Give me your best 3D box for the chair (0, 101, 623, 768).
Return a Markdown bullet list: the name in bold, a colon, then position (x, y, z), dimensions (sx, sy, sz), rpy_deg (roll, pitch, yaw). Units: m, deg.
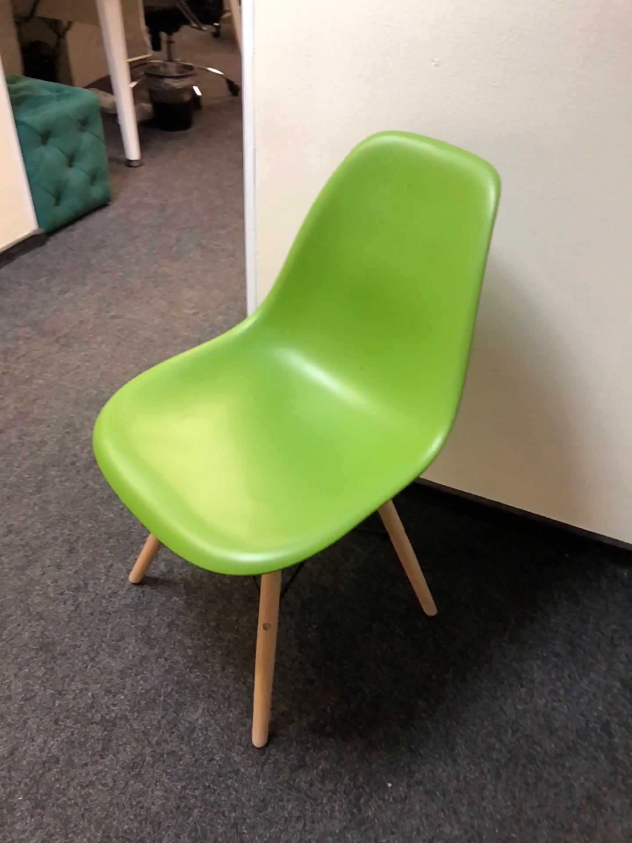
- **chair**: position (-0.019, -0.012, 1.052), dimensions (0.582, 0.705, 0.482), rpy_deg (-26, 47, -31)
